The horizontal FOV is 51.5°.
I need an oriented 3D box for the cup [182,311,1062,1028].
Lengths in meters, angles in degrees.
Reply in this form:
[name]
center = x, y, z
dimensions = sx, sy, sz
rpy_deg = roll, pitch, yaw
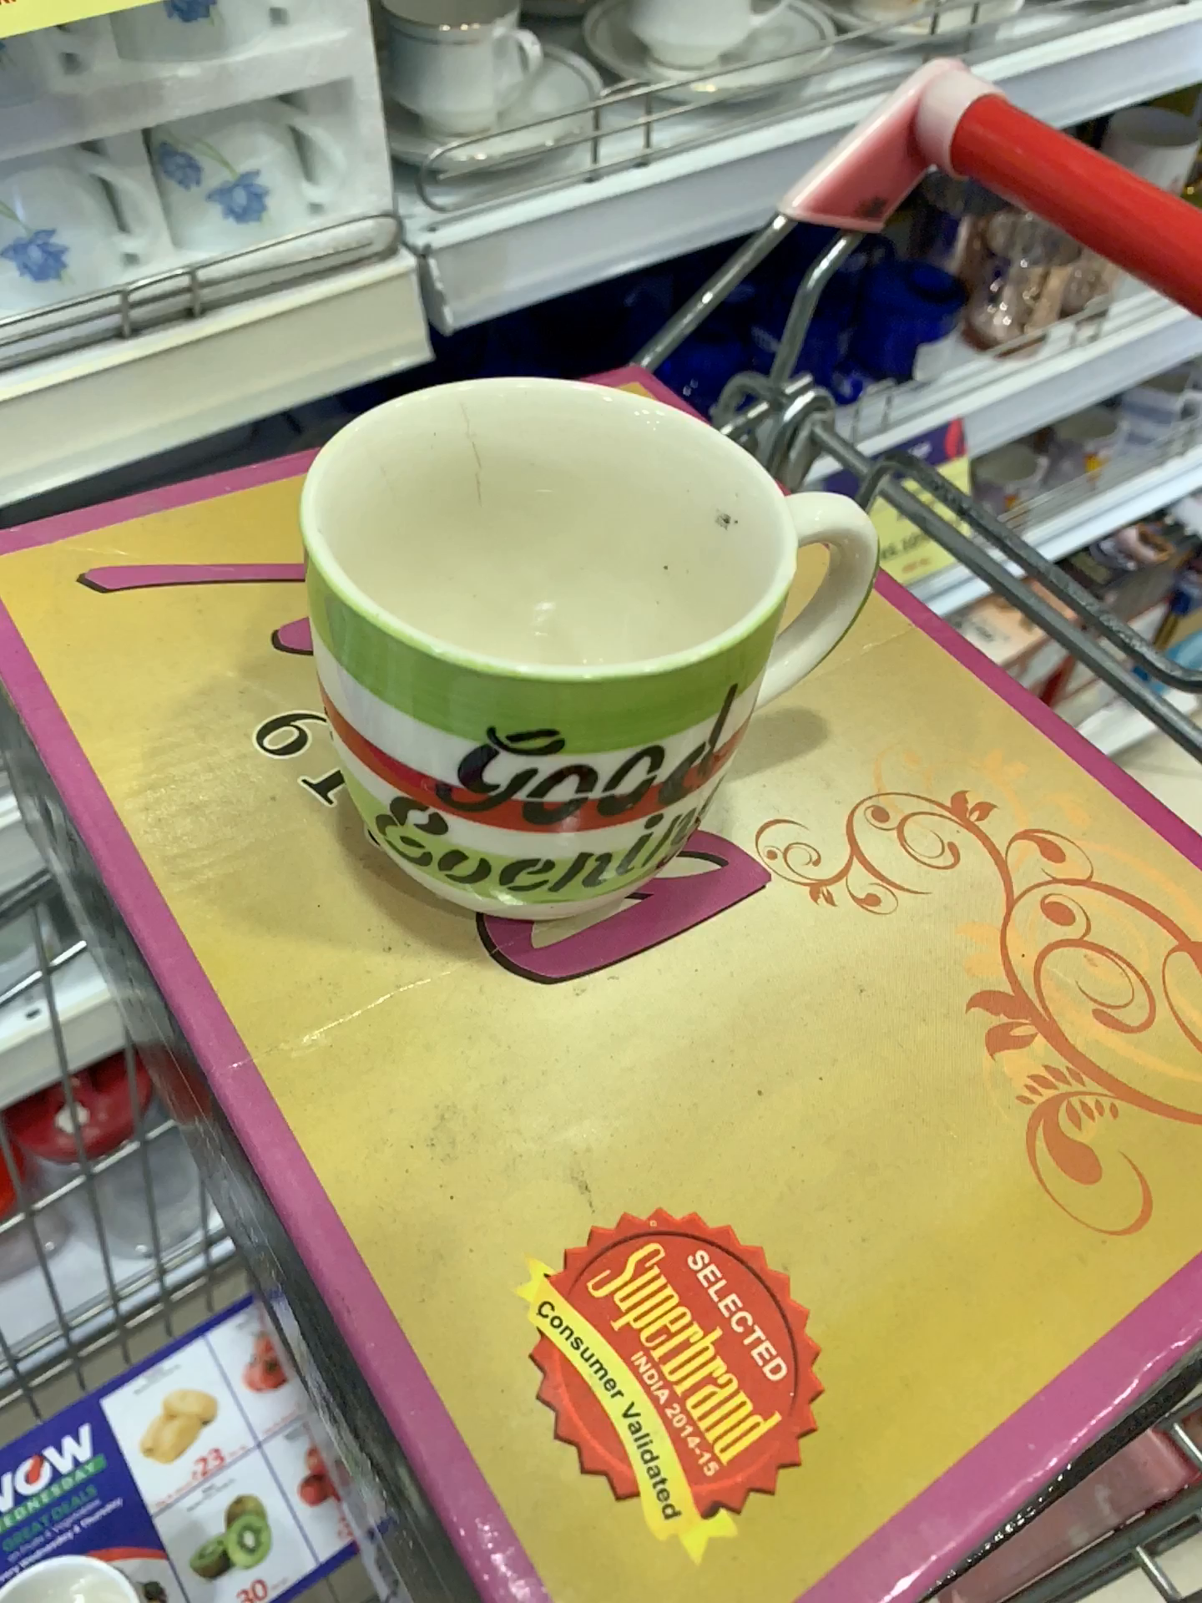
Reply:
[cup]
center = 0.000, -0.029, 0.212
dimensions = 0.110, 0.060, 0.080
rpy_deg = -18, 50, -21
